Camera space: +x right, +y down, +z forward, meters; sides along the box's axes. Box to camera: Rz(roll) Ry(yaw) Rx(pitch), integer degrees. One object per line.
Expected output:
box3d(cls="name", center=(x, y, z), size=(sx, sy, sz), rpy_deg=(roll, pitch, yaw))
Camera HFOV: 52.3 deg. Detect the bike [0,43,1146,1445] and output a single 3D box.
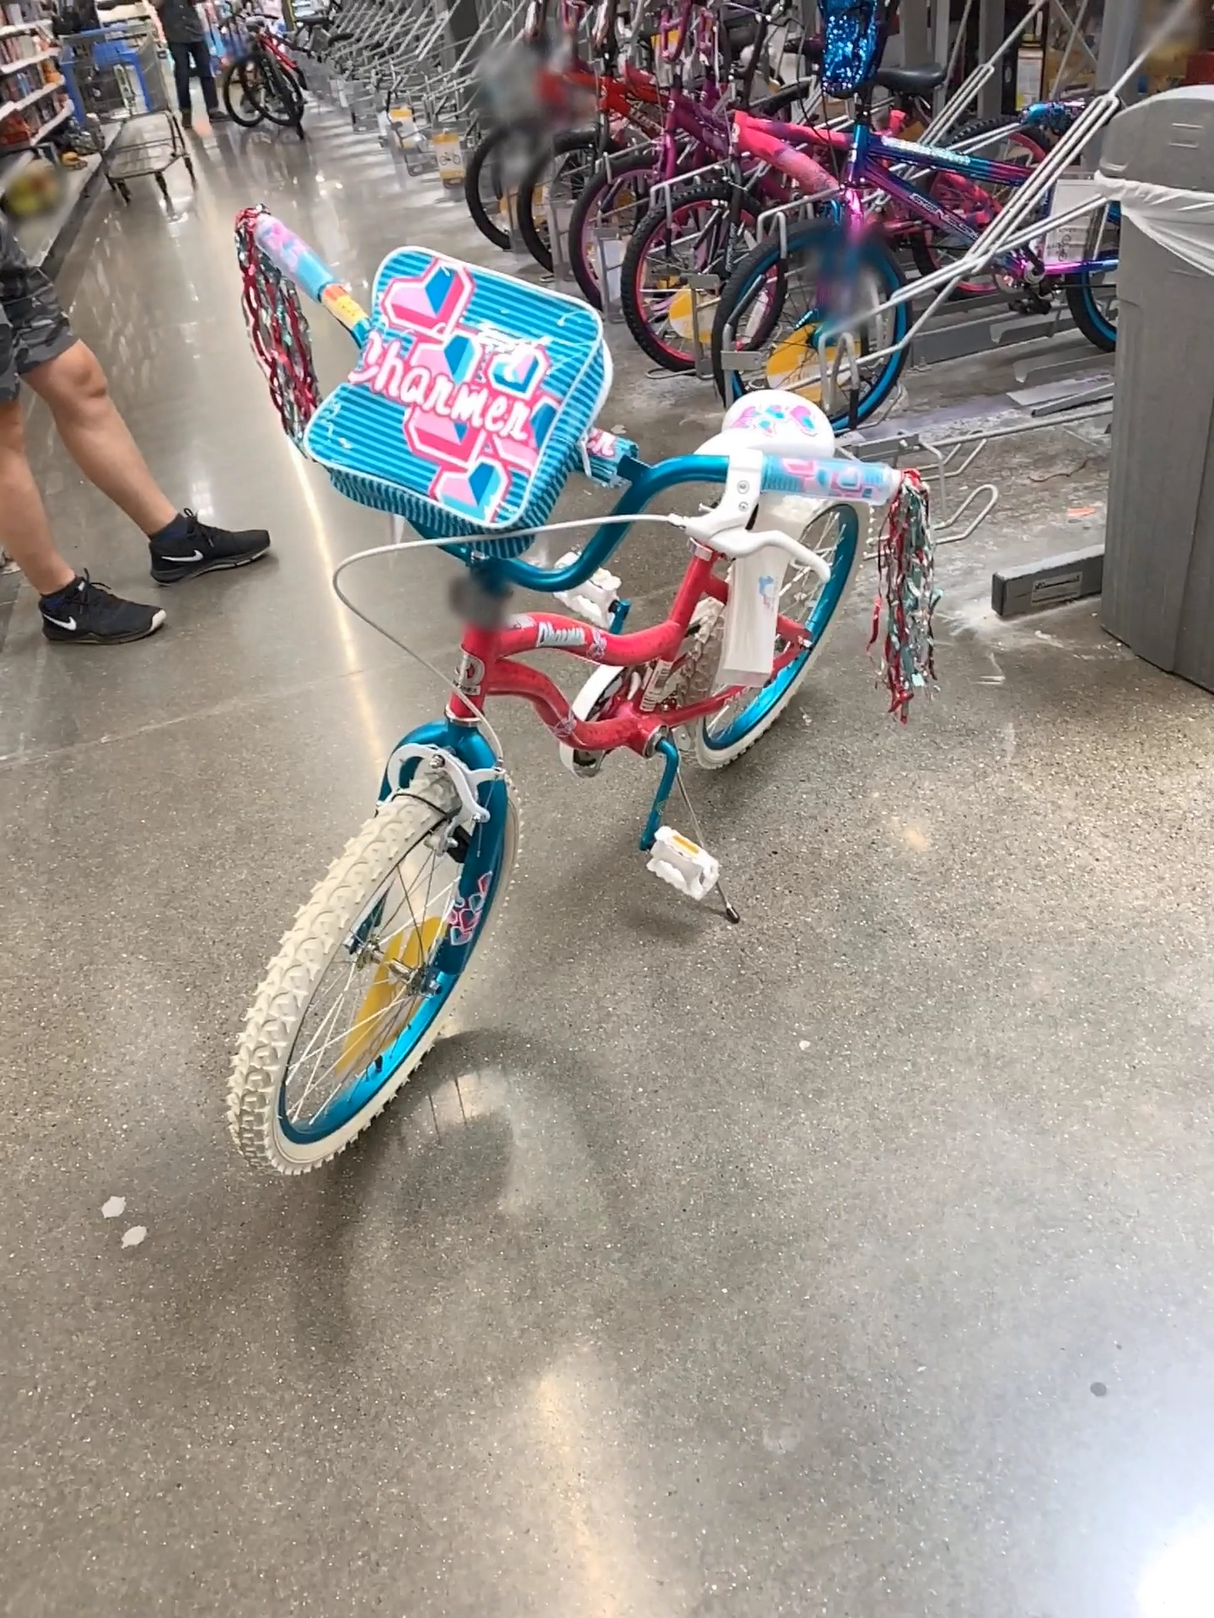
box3d(cls="bike", center=(0.025, -0.182, 1.478), size=(0.654, 0.929, 1.264), rpy_deg=(17, 45, 33))
